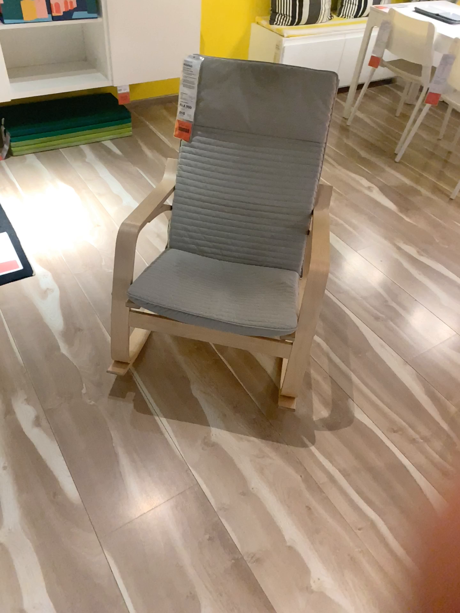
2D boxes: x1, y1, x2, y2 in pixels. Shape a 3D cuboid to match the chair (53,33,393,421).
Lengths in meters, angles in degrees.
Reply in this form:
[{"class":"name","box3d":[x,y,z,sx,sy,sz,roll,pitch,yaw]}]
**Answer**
[{"class":"chair","box3d":[0.003,-0.247,1.558,0.730,0.916,0.723,11,45,4]}]
